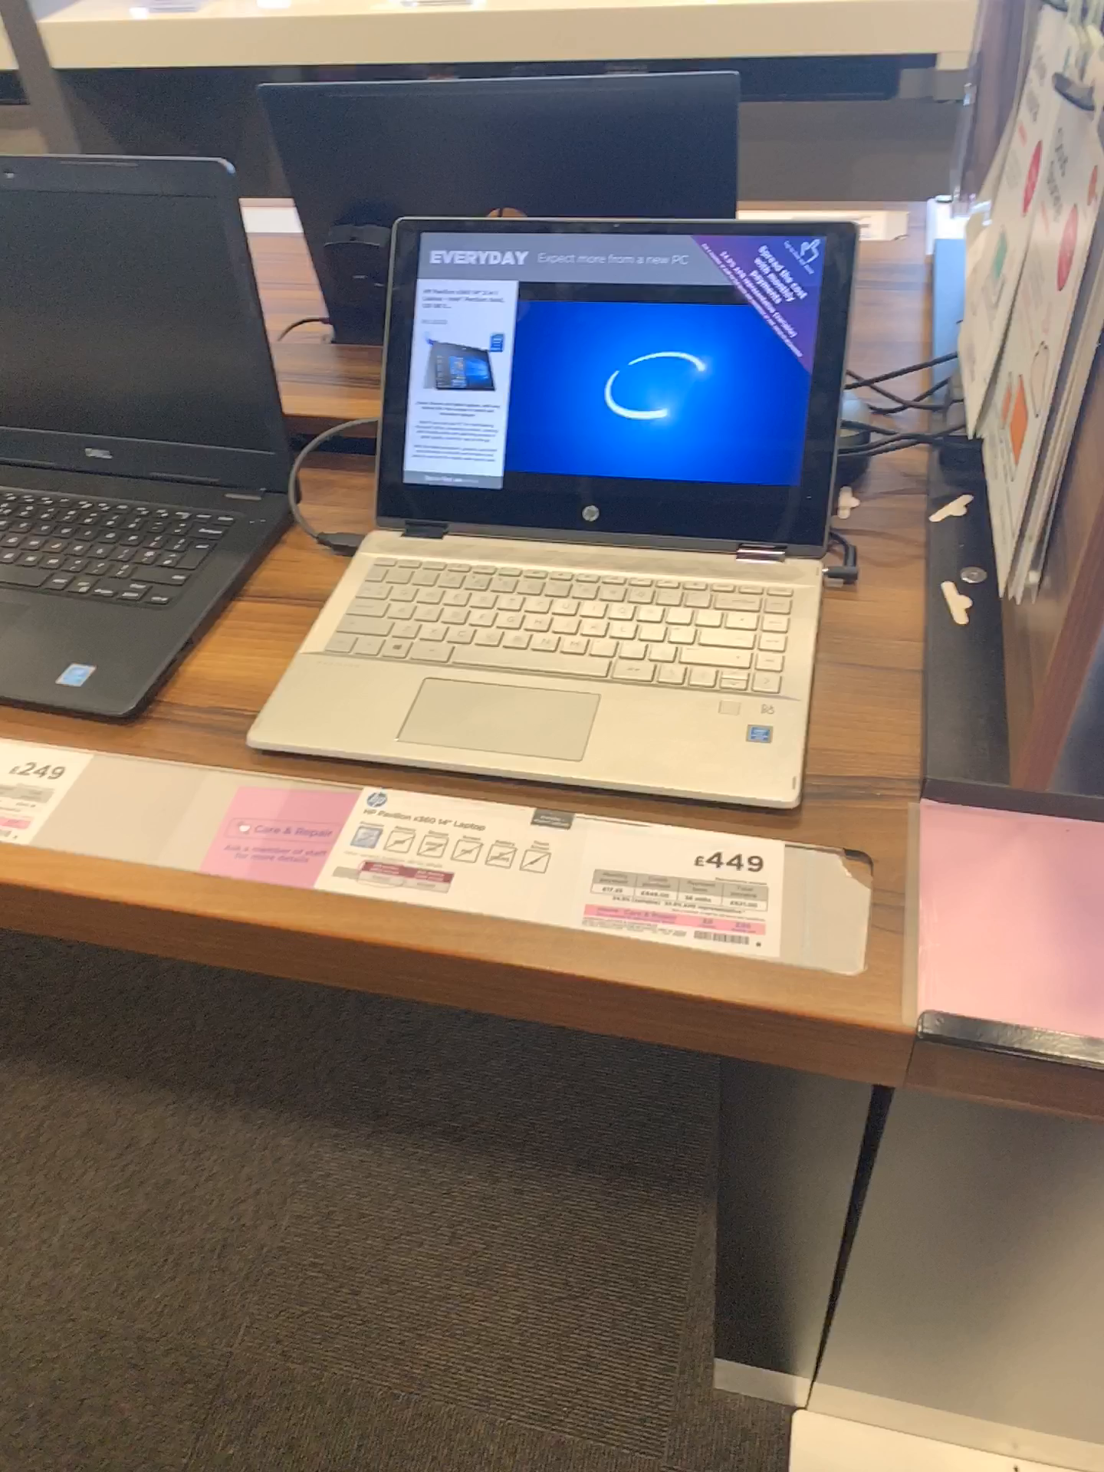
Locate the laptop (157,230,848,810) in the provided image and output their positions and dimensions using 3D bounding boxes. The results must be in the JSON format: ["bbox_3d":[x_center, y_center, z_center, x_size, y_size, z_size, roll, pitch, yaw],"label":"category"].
[{"bbox_3d":[0.005,-0.159,0.690,0.313,0.154,0.363,6,46,13],"label":"laptop"}]
